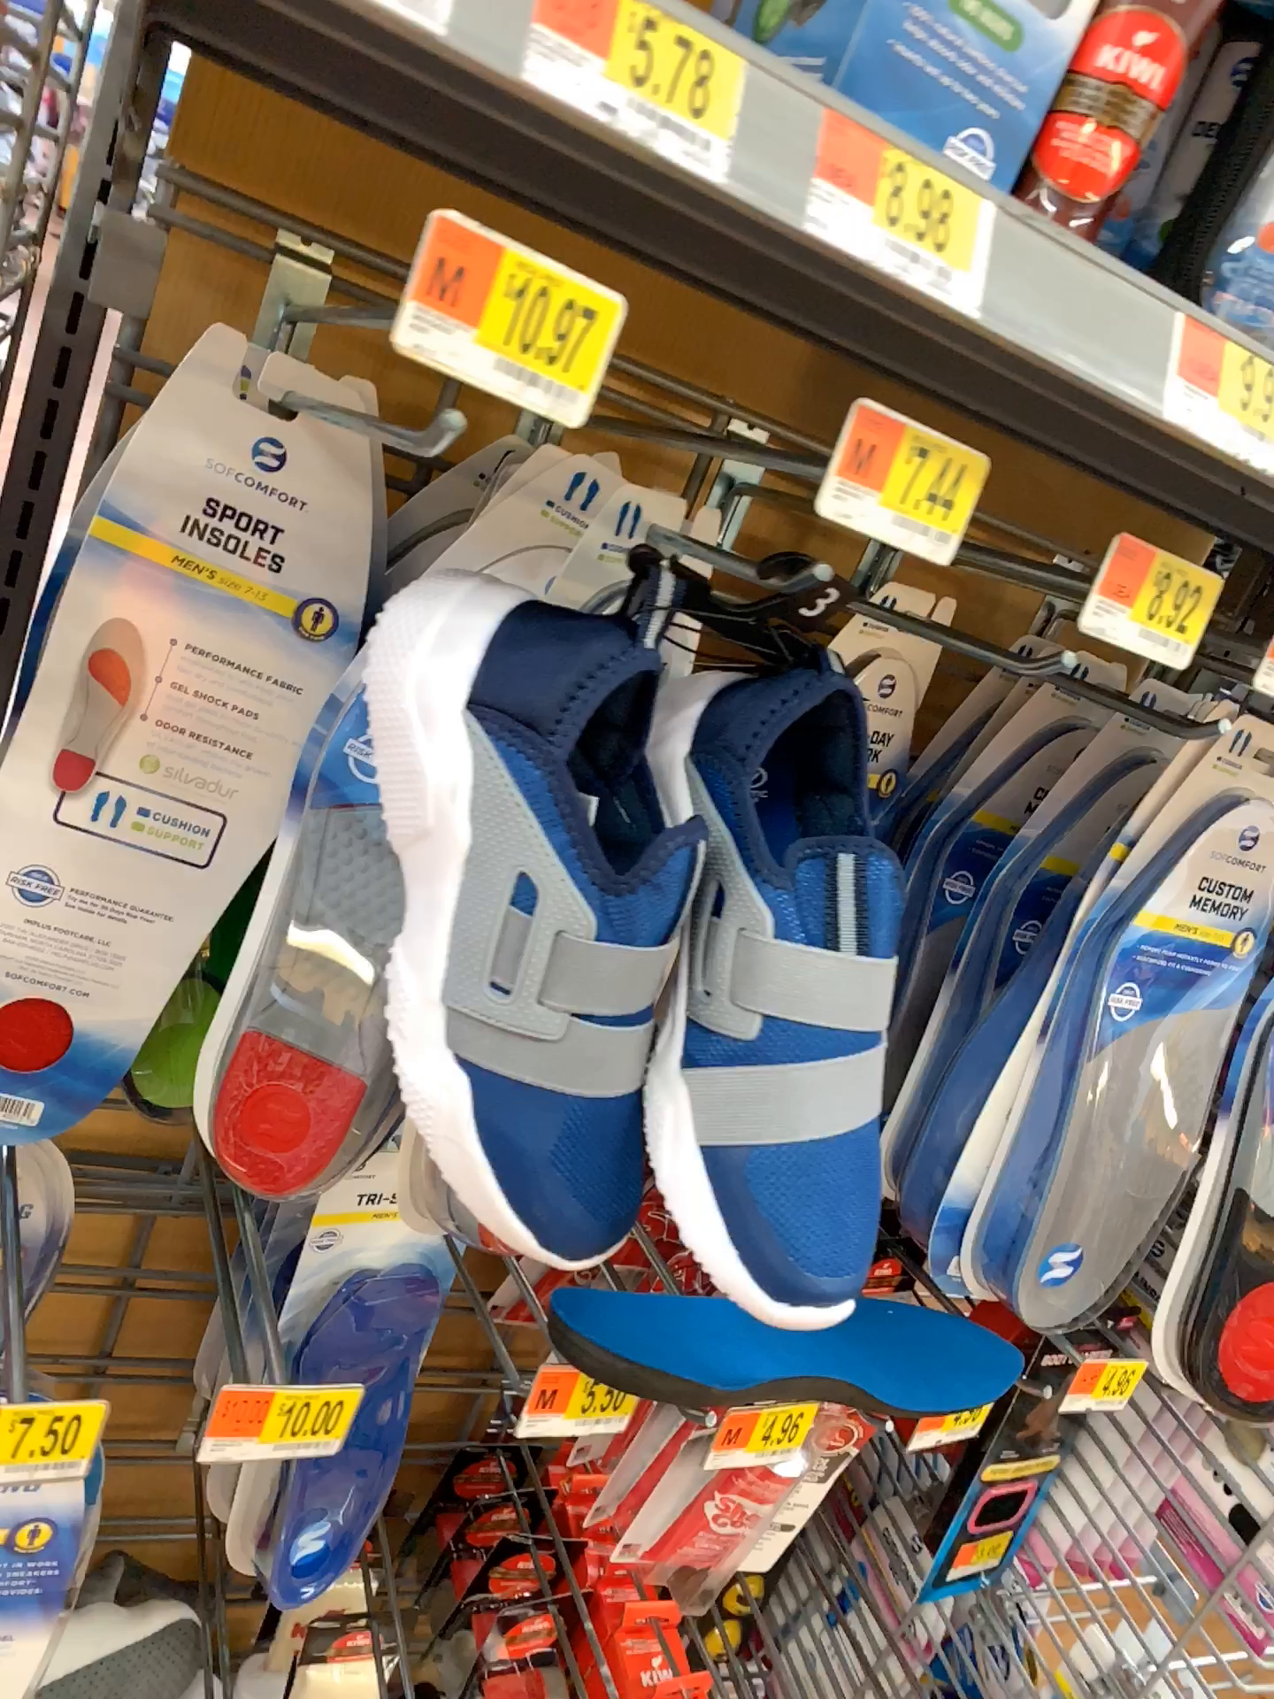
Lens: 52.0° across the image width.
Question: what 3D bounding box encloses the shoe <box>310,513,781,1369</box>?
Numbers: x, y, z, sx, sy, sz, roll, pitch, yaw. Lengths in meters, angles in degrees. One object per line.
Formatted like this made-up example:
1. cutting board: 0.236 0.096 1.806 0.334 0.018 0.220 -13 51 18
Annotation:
1. shoe: -0.025 0.024 0.434 0.098 0.245 0.096 -1 7 30

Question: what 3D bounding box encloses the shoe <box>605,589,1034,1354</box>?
1. shoe: 0.059 0.044 0.464 0.101 0.233 0.098 9 -16 -35
